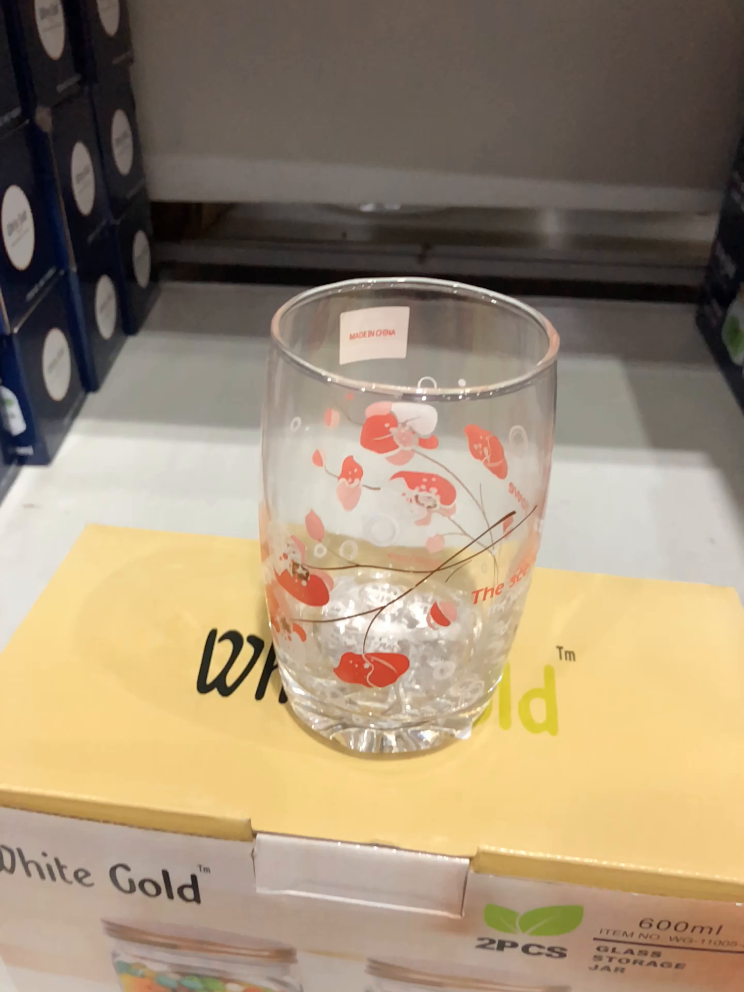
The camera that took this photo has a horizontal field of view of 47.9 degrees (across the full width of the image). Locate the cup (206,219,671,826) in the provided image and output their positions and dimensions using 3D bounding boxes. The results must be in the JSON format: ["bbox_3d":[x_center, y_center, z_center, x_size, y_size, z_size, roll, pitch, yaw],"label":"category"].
[{"bbox_3d":[0.019,0.004,0.206,0.080,0.109,0.080,1,36,-1],"label":"cup"}]
